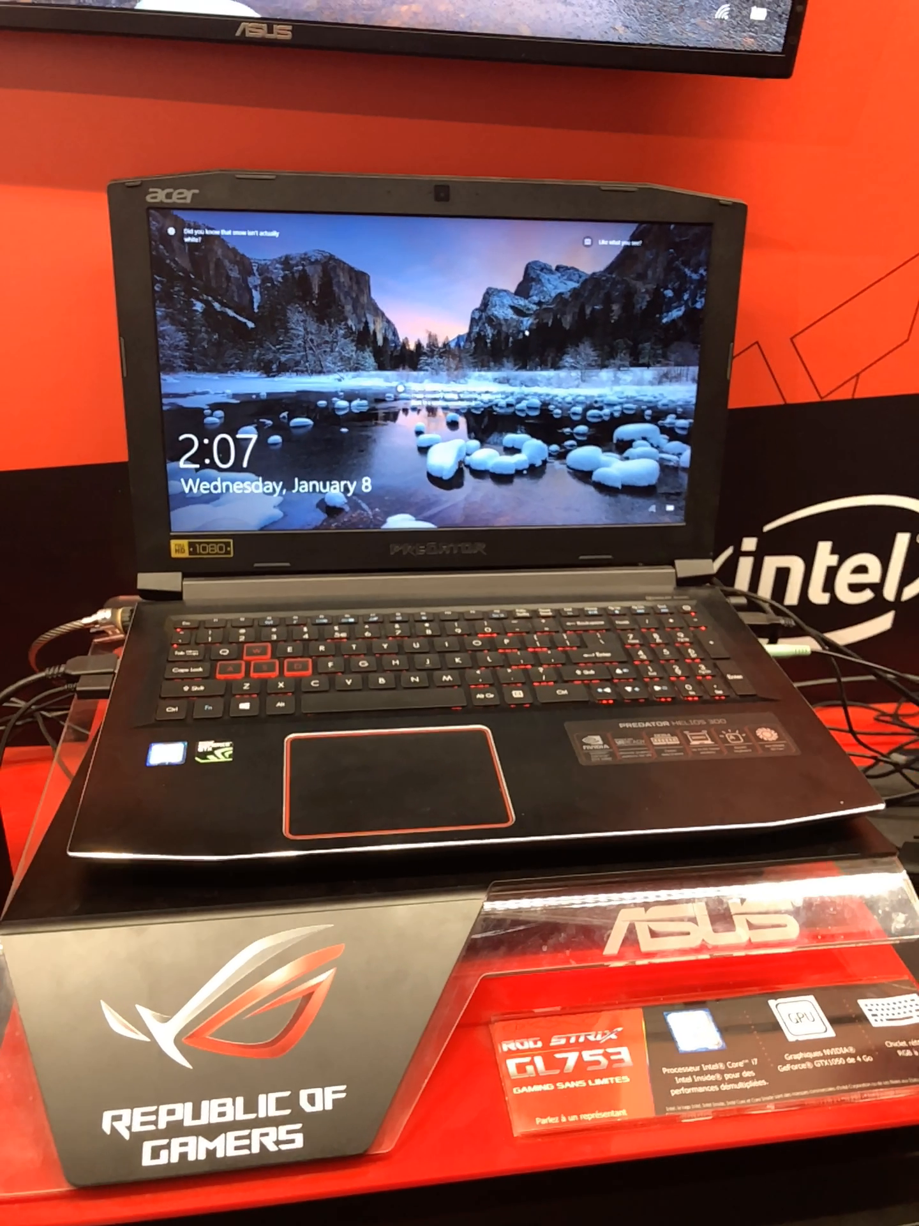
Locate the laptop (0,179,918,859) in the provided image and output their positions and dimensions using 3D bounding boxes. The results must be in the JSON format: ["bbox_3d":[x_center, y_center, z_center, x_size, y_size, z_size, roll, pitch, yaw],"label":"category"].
[{"bbox_3d":[0.005,-0.079,0.544,0.385,0.240,0.295,-1,28,-8],"label":"laptop"}]
